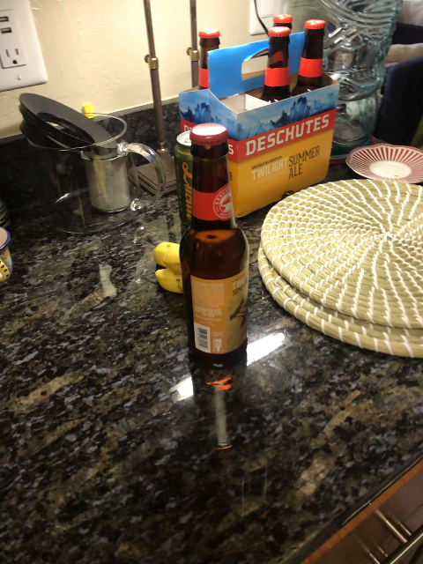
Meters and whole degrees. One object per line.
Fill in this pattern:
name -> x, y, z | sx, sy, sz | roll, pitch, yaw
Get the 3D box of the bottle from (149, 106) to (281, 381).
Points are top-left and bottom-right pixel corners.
bottle -> 0.004, -0.022, 0.357 | 0.060, 0.199, 0.060 | -1, 38, 1
